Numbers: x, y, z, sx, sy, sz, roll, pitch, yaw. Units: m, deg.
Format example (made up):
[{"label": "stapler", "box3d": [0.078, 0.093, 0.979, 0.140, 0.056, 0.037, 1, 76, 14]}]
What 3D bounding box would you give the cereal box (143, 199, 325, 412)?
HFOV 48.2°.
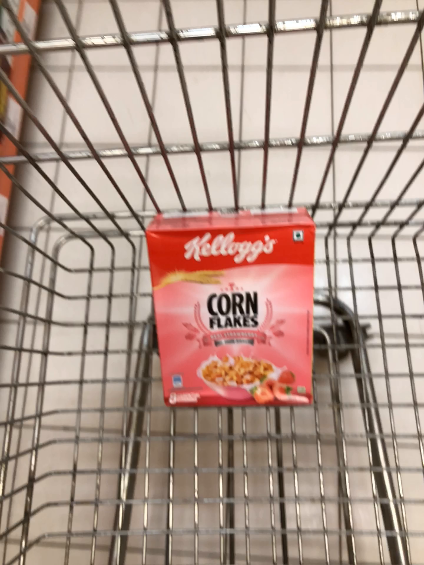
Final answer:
[{"label": "cereal box", "box3d": [0.022, 0.024, 0.420, 0.140, 0.050, 0.180, -2, 112, 4]}]
